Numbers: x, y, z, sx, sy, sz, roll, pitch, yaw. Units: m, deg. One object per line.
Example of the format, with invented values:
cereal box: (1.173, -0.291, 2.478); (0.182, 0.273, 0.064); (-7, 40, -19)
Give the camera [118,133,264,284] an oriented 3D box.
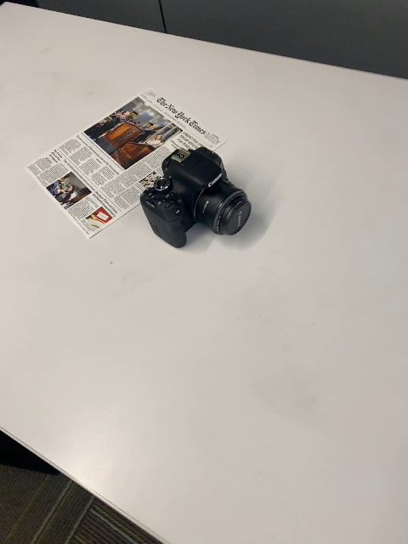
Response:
camera: (-0.013, -0.096, 0.615); (0.143, 0.100, 0.146); (35, 70, 25)
